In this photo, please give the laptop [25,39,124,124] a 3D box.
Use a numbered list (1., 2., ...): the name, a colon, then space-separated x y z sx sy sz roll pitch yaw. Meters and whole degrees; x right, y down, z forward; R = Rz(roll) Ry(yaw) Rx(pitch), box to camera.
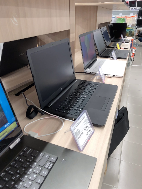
1. laptop: 0.046 -0.098 0.697 0.297 0.222 0.359 11 28 20
